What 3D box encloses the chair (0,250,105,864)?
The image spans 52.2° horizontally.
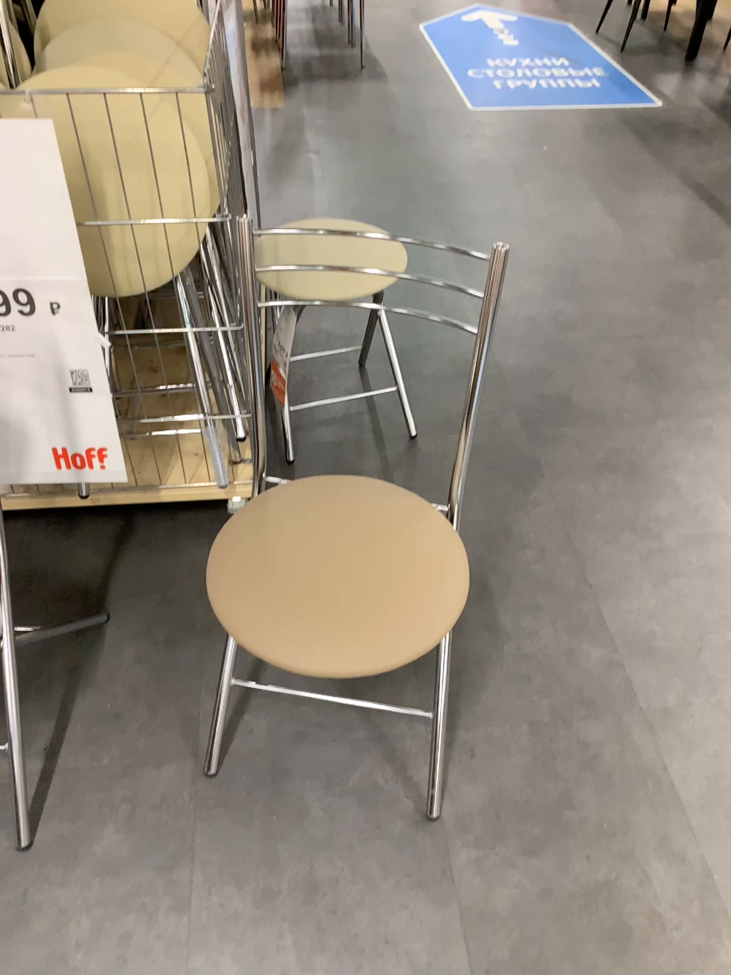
[{"bbox_3d":[-0.783,0.136,1.078,0.520,0.776,0.493,-1,45,-2],"label":"chair"}]

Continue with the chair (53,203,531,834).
[{"bbox_3d":[-0.042,0.082,1.131,0.440,0.796,0.493,7,45,6],"label":"chair"}]
